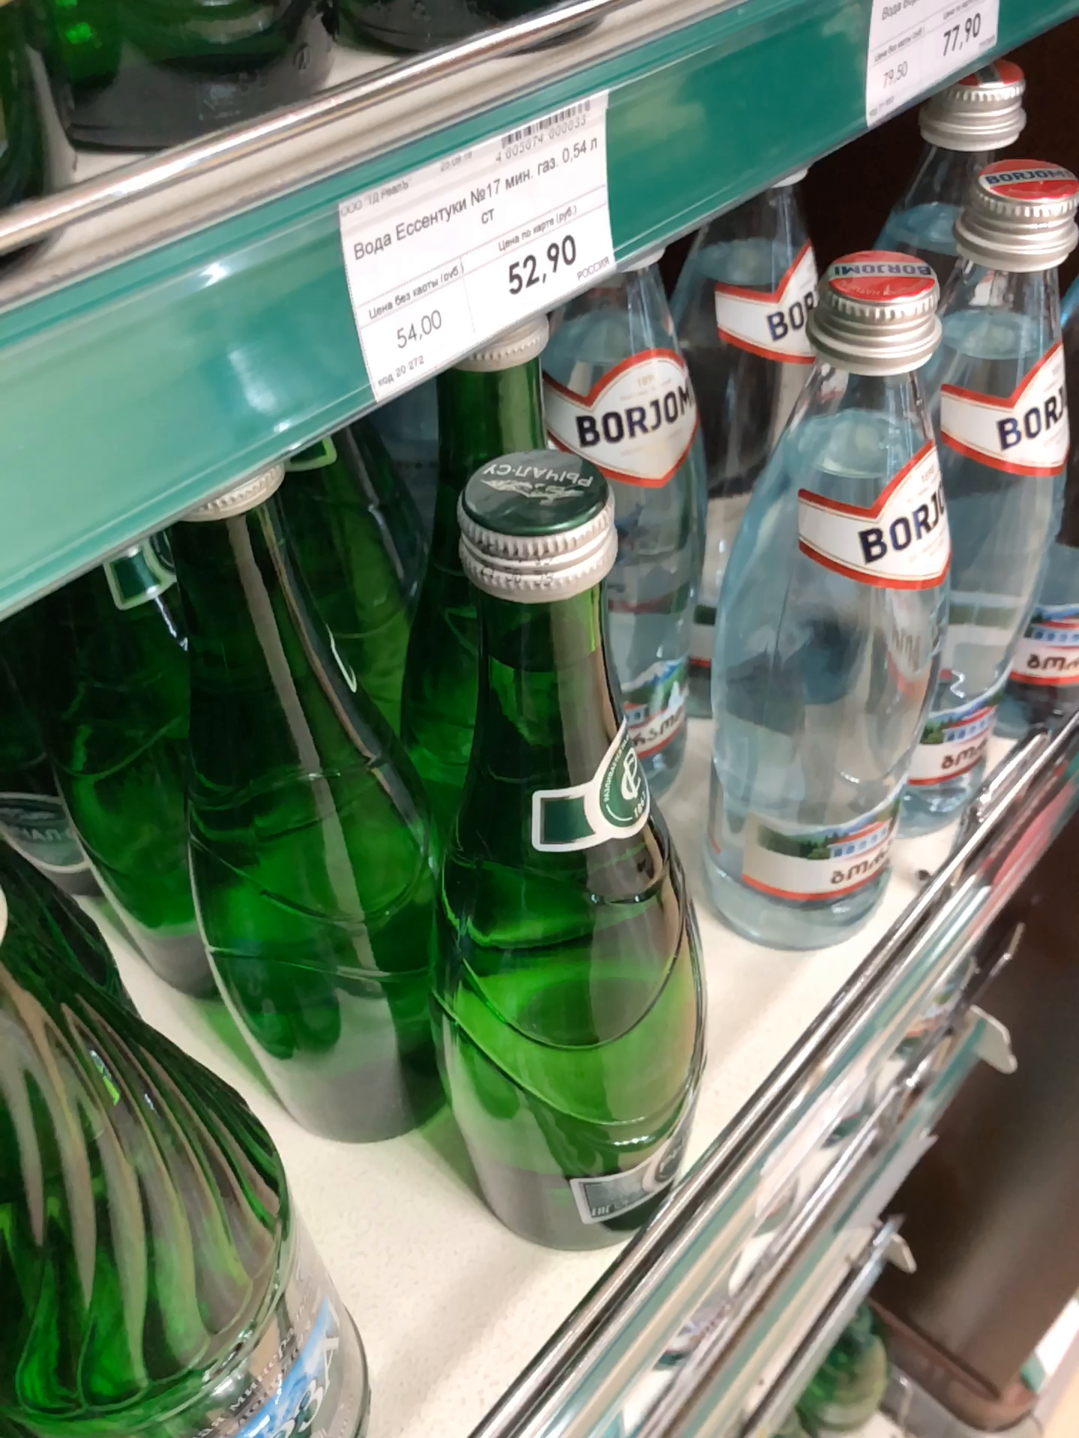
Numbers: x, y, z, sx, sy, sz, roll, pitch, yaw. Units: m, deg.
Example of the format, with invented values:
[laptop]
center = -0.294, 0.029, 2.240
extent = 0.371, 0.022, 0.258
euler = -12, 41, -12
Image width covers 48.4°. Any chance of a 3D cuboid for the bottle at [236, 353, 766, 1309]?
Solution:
[bottle]
center = 0.004, 0.050, 0.302
extent = 0.070, 0.259, 0.080
euler = 12, 47, 15
